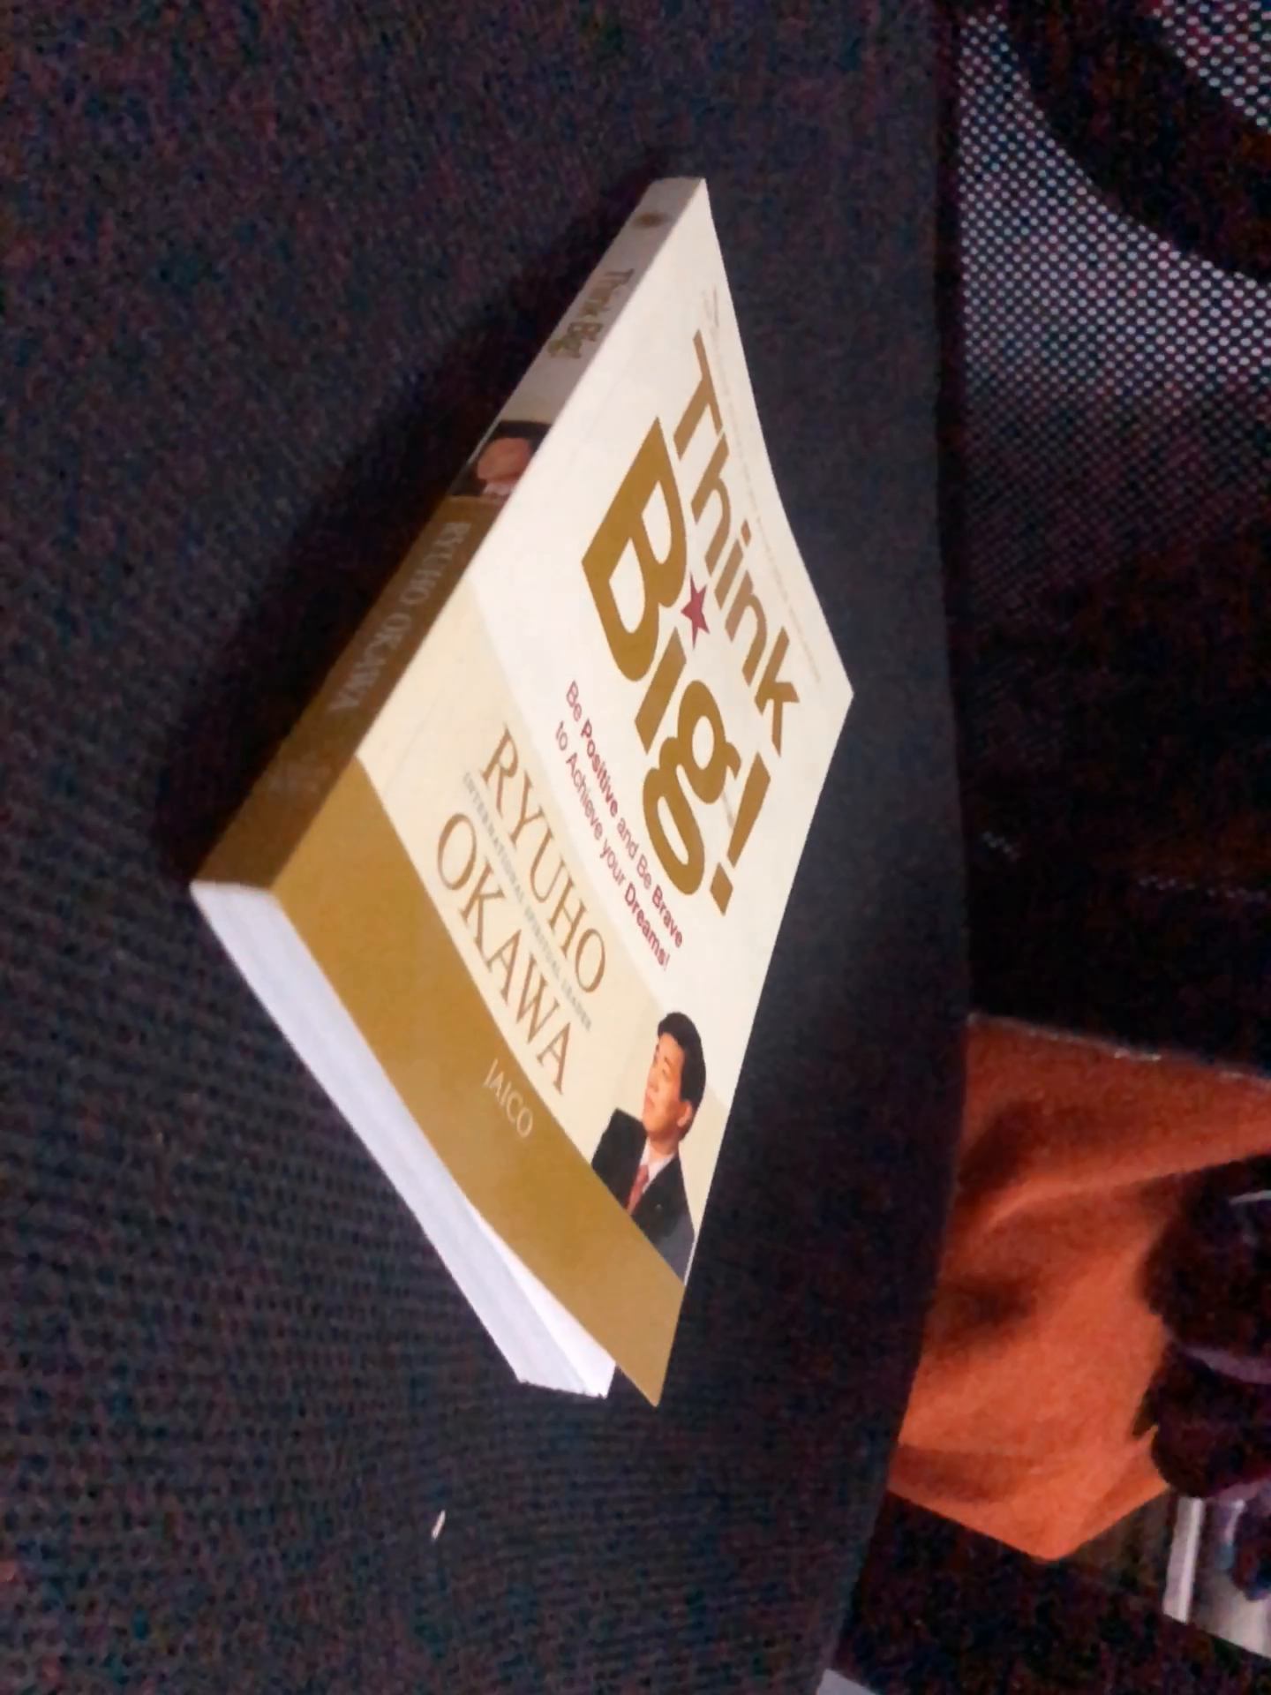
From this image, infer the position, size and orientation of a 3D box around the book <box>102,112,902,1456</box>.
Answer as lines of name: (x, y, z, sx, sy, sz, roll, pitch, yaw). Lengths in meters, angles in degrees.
book: (0.005, -0.017, 0.248, 0.138, 0.026, 0.190, 67, 34, -42)
